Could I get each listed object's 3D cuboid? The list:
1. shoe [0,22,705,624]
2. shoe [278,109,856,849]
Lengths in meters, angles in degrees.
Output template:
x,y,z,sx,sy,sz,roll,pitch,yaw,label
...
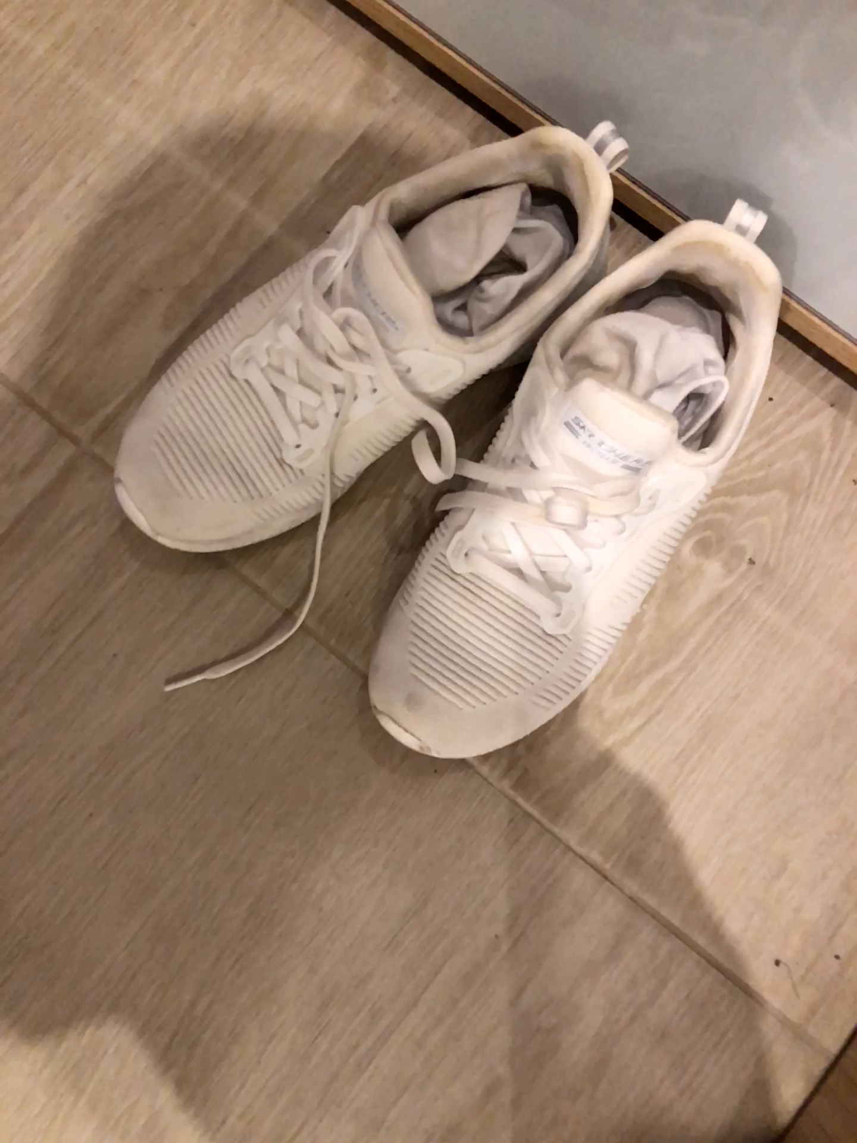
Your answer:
x,y,z,sx,sy,sz,roll,pitch,yaw,label
-0.031,-0.103,0.429,0.270,0.110,0.110,-34,82,-5,shoe
0.068,-0.036,0.416,0.110,0.110,0.280,33,82,5,shoe
